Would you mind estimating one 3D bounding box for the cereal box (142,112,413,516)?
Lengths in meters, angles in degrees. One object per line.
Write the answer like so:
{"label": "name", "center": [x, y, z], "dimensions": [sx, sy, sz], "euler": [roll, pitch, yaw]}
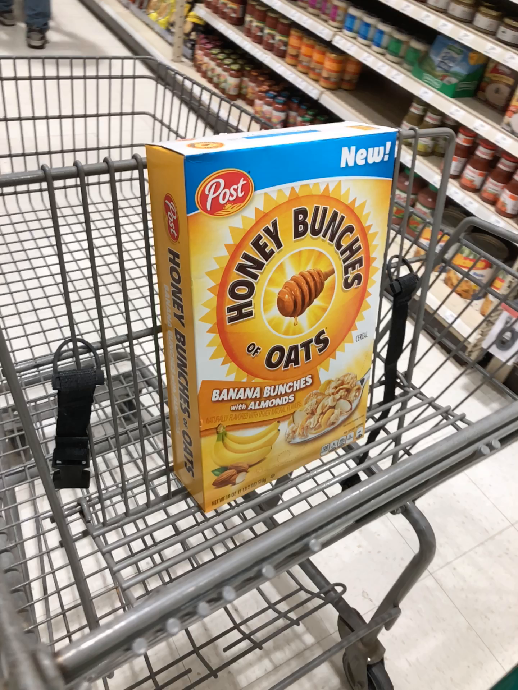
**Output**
{"label": "cereal box", "center": [0.019, -0.027, 0.482], "dimensions": [0.200, 0.299, 0.060], "euler": [-18, 33, -32]}
